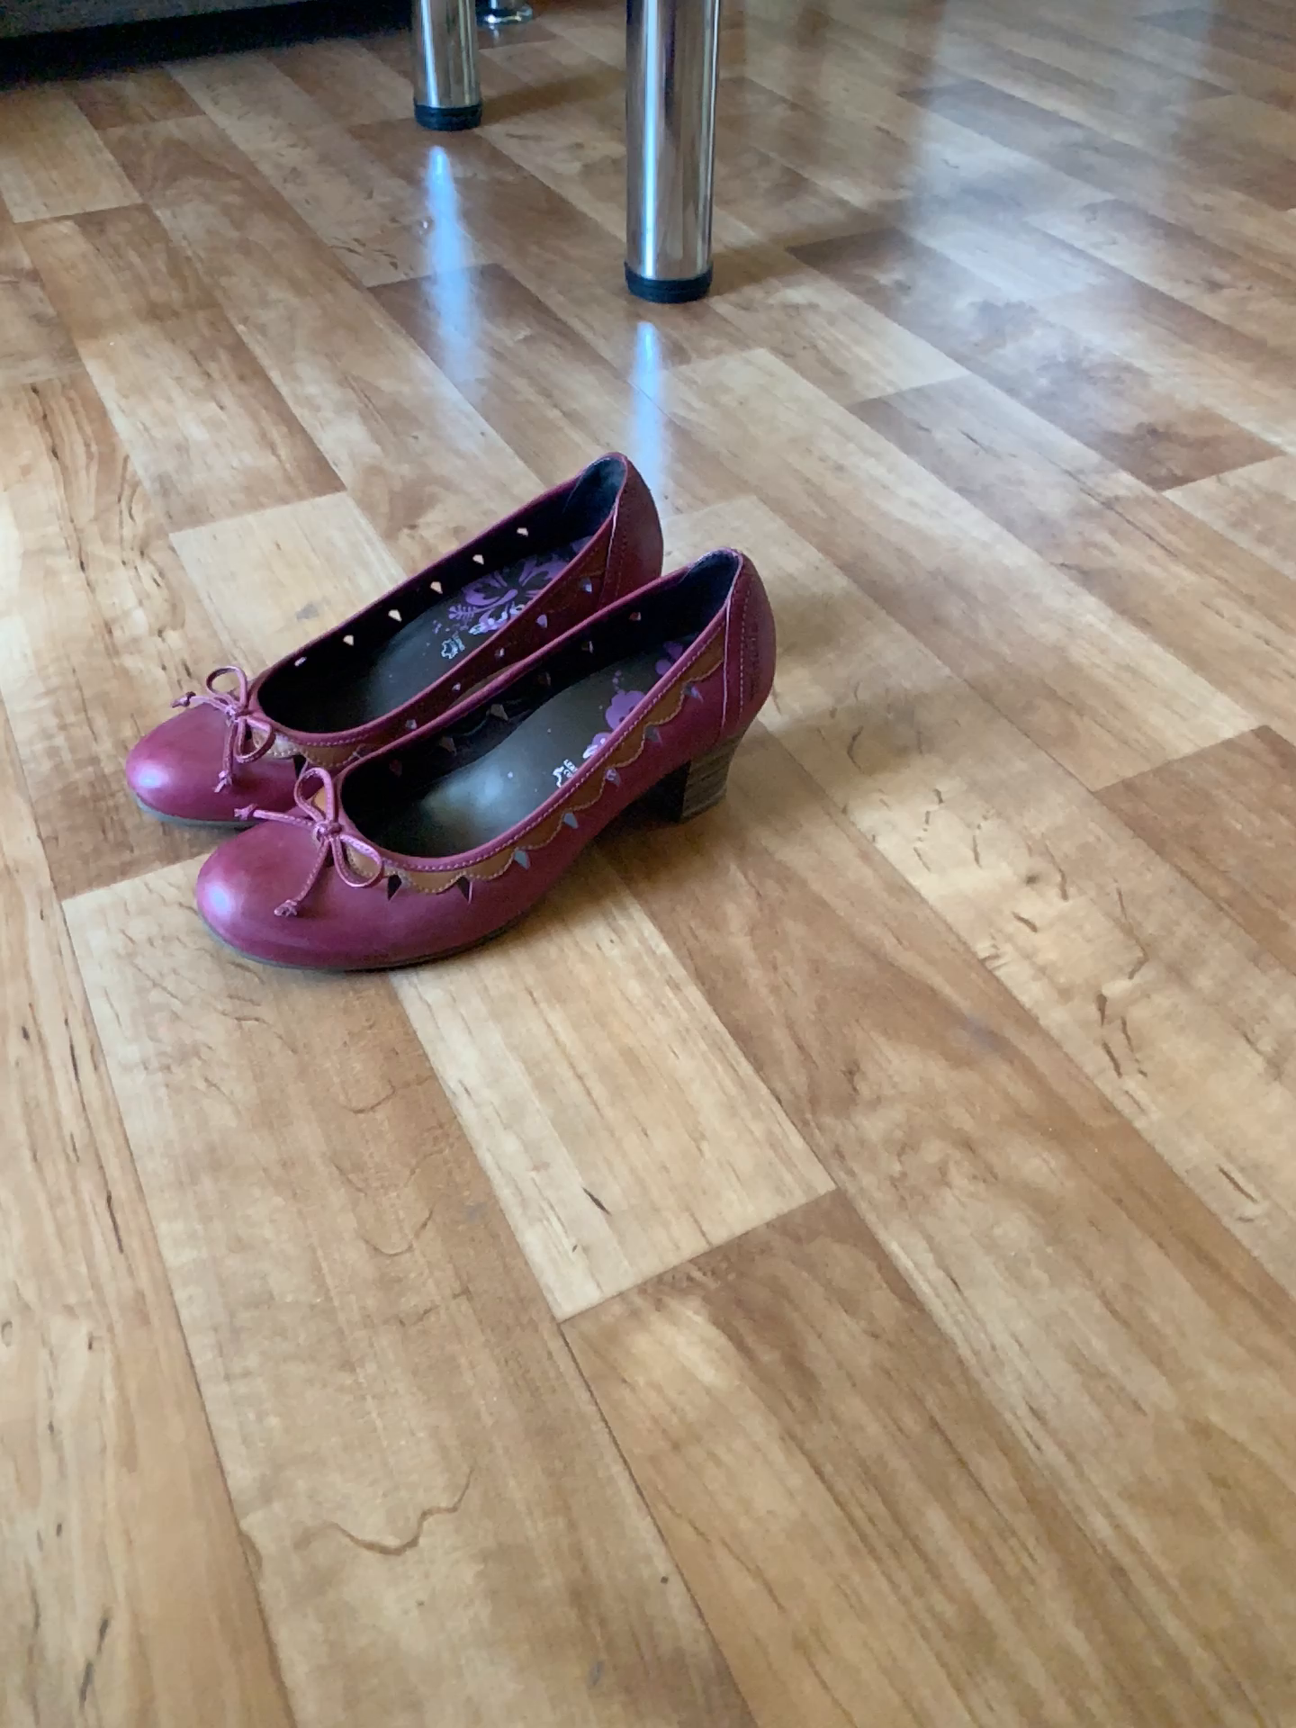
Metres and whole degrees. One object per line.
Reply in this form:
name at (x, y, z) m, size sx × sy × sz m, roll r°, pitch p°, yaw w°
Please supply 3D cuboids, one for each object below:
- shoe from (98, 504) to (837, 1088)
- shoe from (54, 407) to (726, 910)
shoe at (-0.057, -0.033, 0.499) m, size 0.240 × 0.110 × 0.090 m, roll -24°, pitch 49°, yaw -22°
shoe at (-0.095, -0.091, 0.550) m, size 0.240 × 0.110 × 0.090 m, roll -22°, pitch 49°, yaw -21°
